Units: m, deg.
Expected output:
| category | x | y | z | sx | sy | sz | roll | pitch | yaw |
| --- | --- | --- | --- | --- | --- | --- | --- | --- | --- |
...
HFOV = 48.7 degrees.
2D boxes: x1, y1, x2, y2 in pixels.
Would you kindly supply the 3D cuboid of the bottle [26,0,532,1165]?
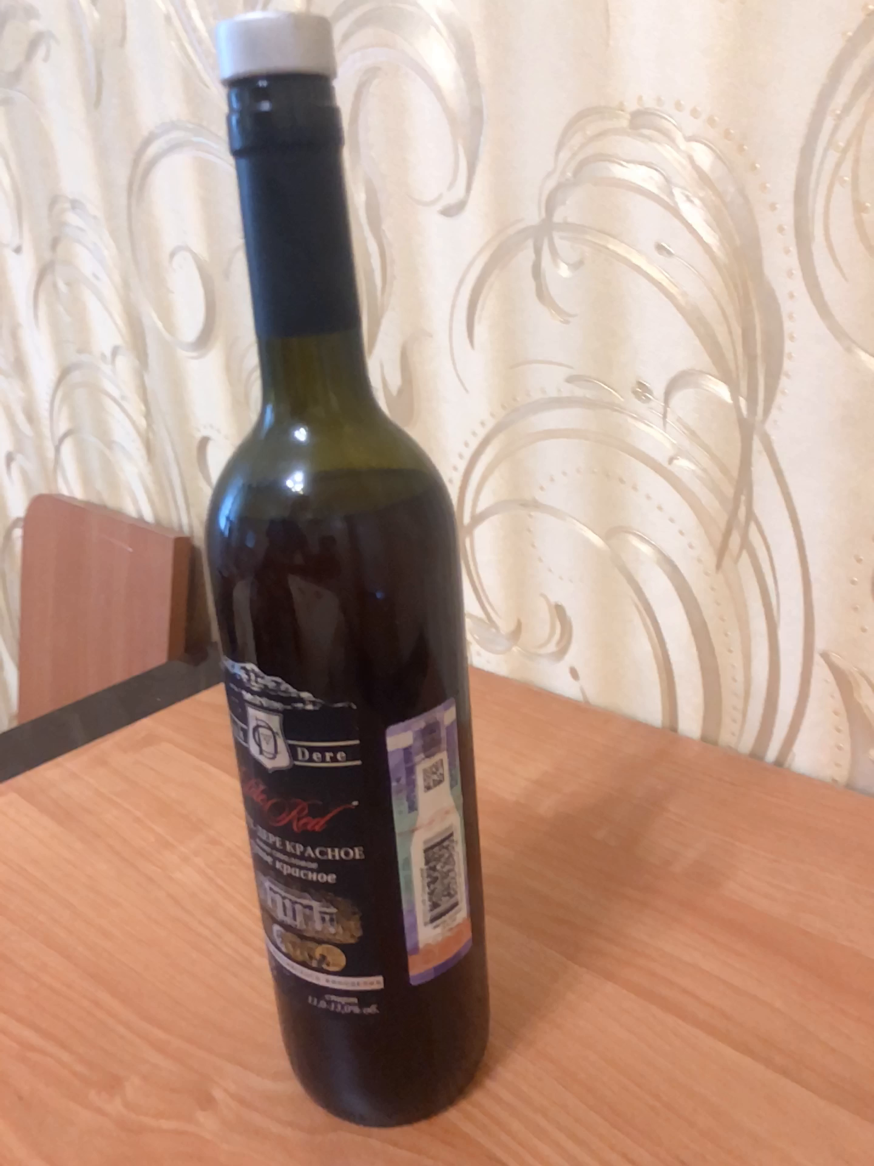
| category | x | y | z | sx | sy | sz | roll | pitch | yaw |
| --- | --- | --- | --- | --- | --- | --- | --- | --- | --- |
| bottle | -0.035 | 0.010 | 0.291 | 0.073 | 0.322 | 0.083 | -22 | 26 | -39 |
